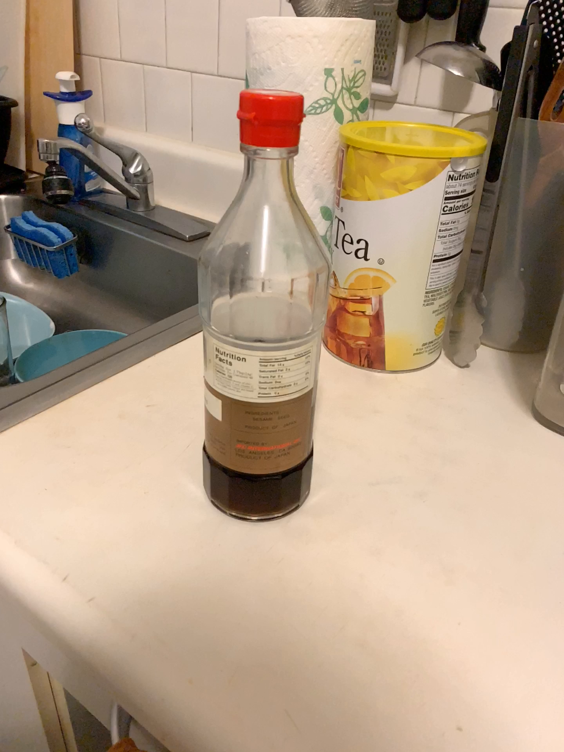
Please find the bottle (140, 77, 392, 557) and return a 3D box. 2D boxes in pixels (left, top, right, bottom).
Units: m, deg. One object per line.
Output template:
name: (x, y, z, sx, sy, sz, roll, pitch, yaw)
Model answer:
bottle: (-0.012, -0.028, 0.350, 0.090, 0.258, 0.090, 3, 32, -2)
